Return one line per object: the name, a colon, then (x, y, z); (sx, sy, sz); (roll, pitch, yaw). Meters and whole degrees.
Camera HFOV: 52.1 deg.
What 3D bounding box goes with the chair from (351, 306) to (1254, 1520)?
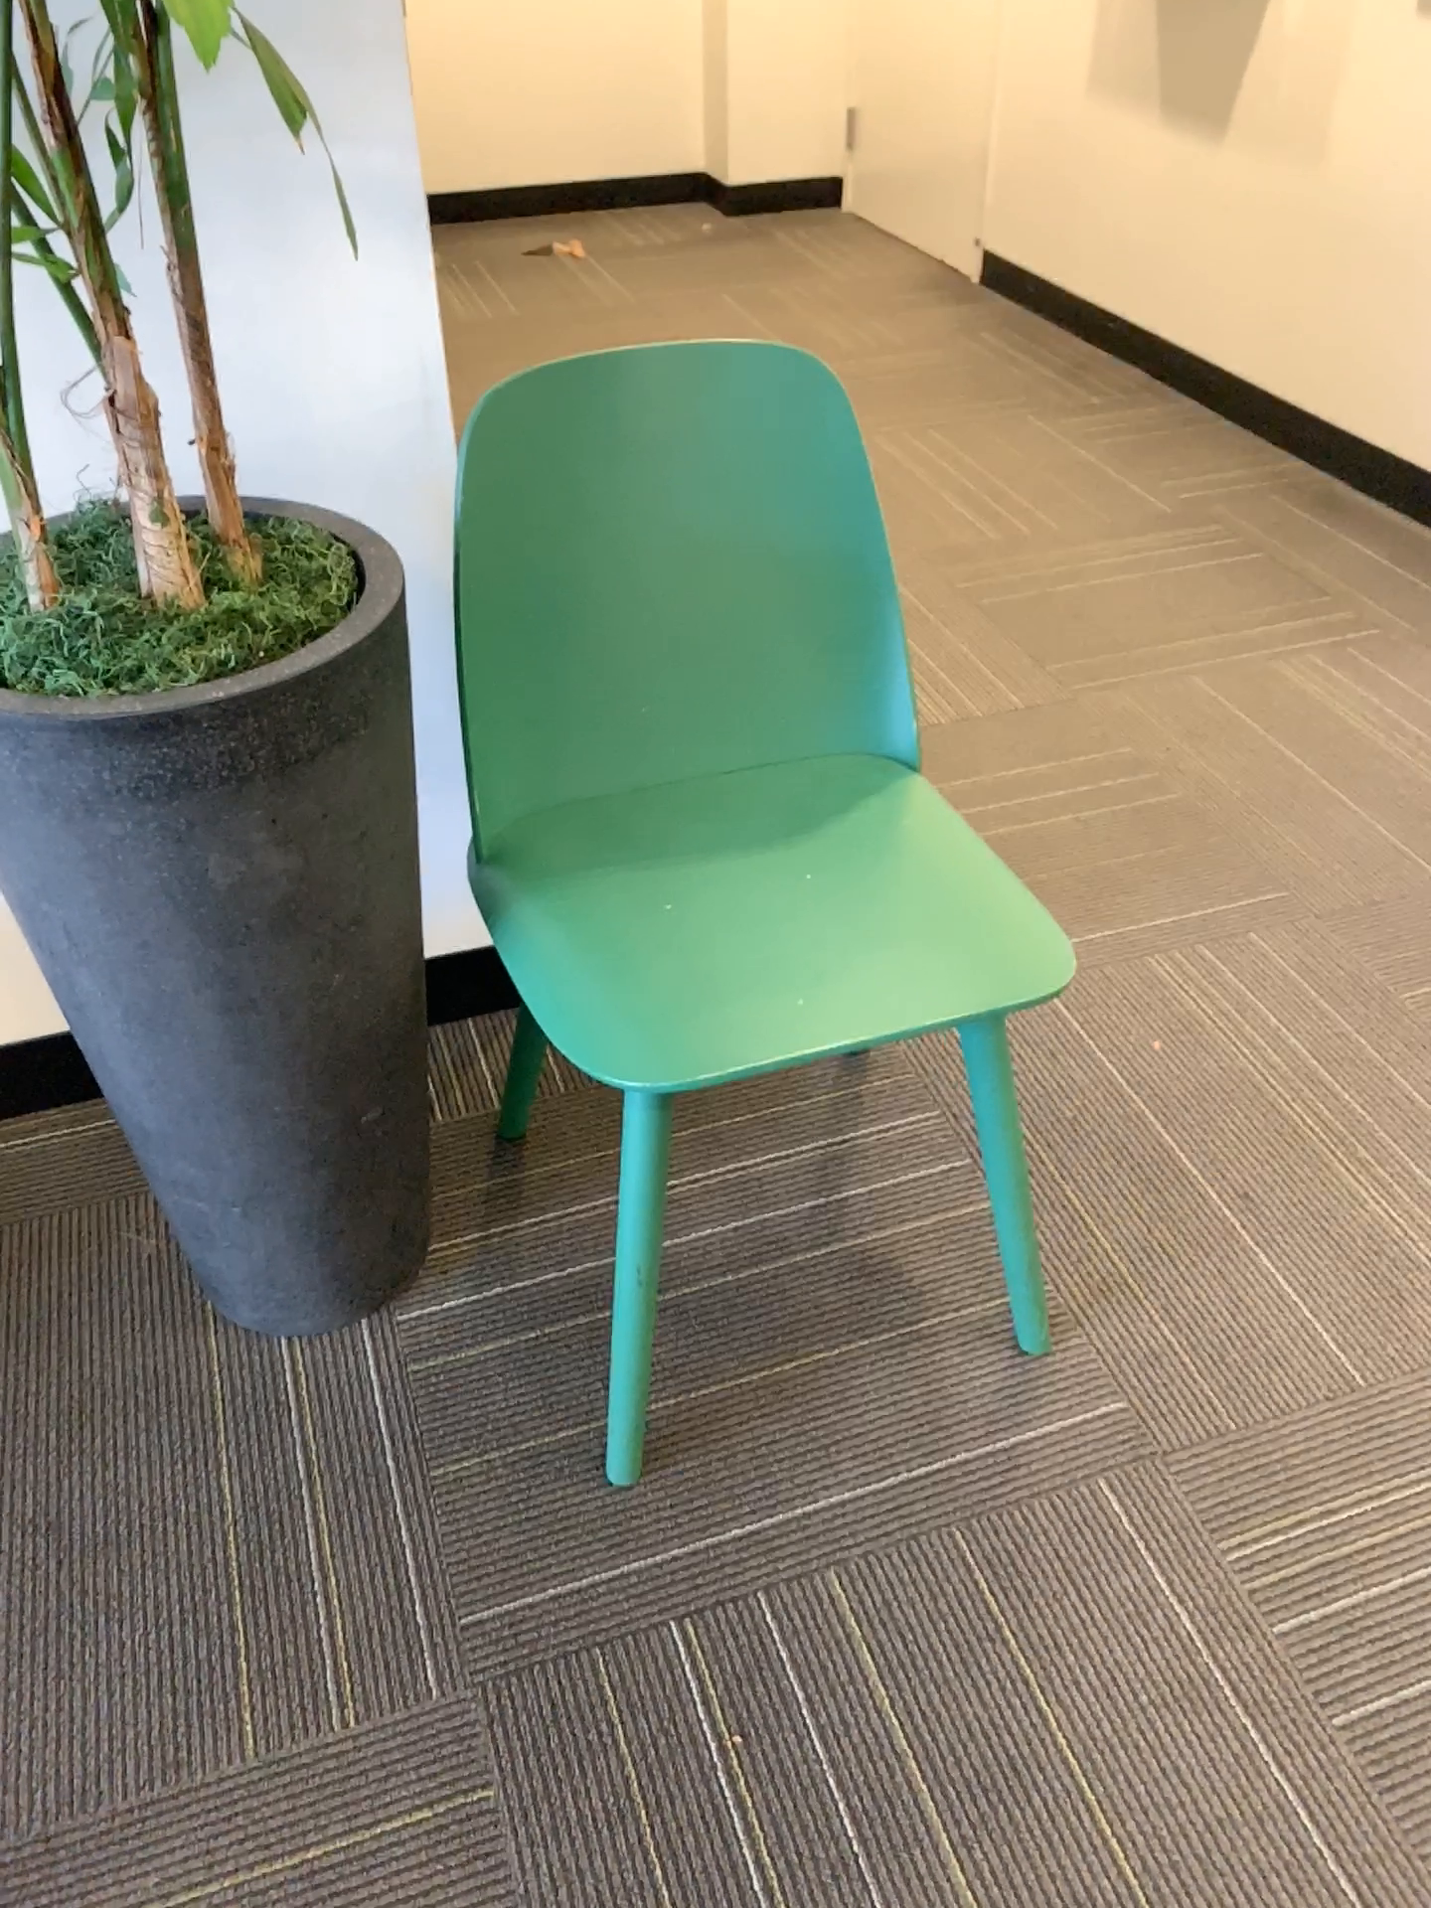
chair: (-0.007, -0.082, 1.187); (0.390, 0.626, 0.714); (-12, 40, -13)
